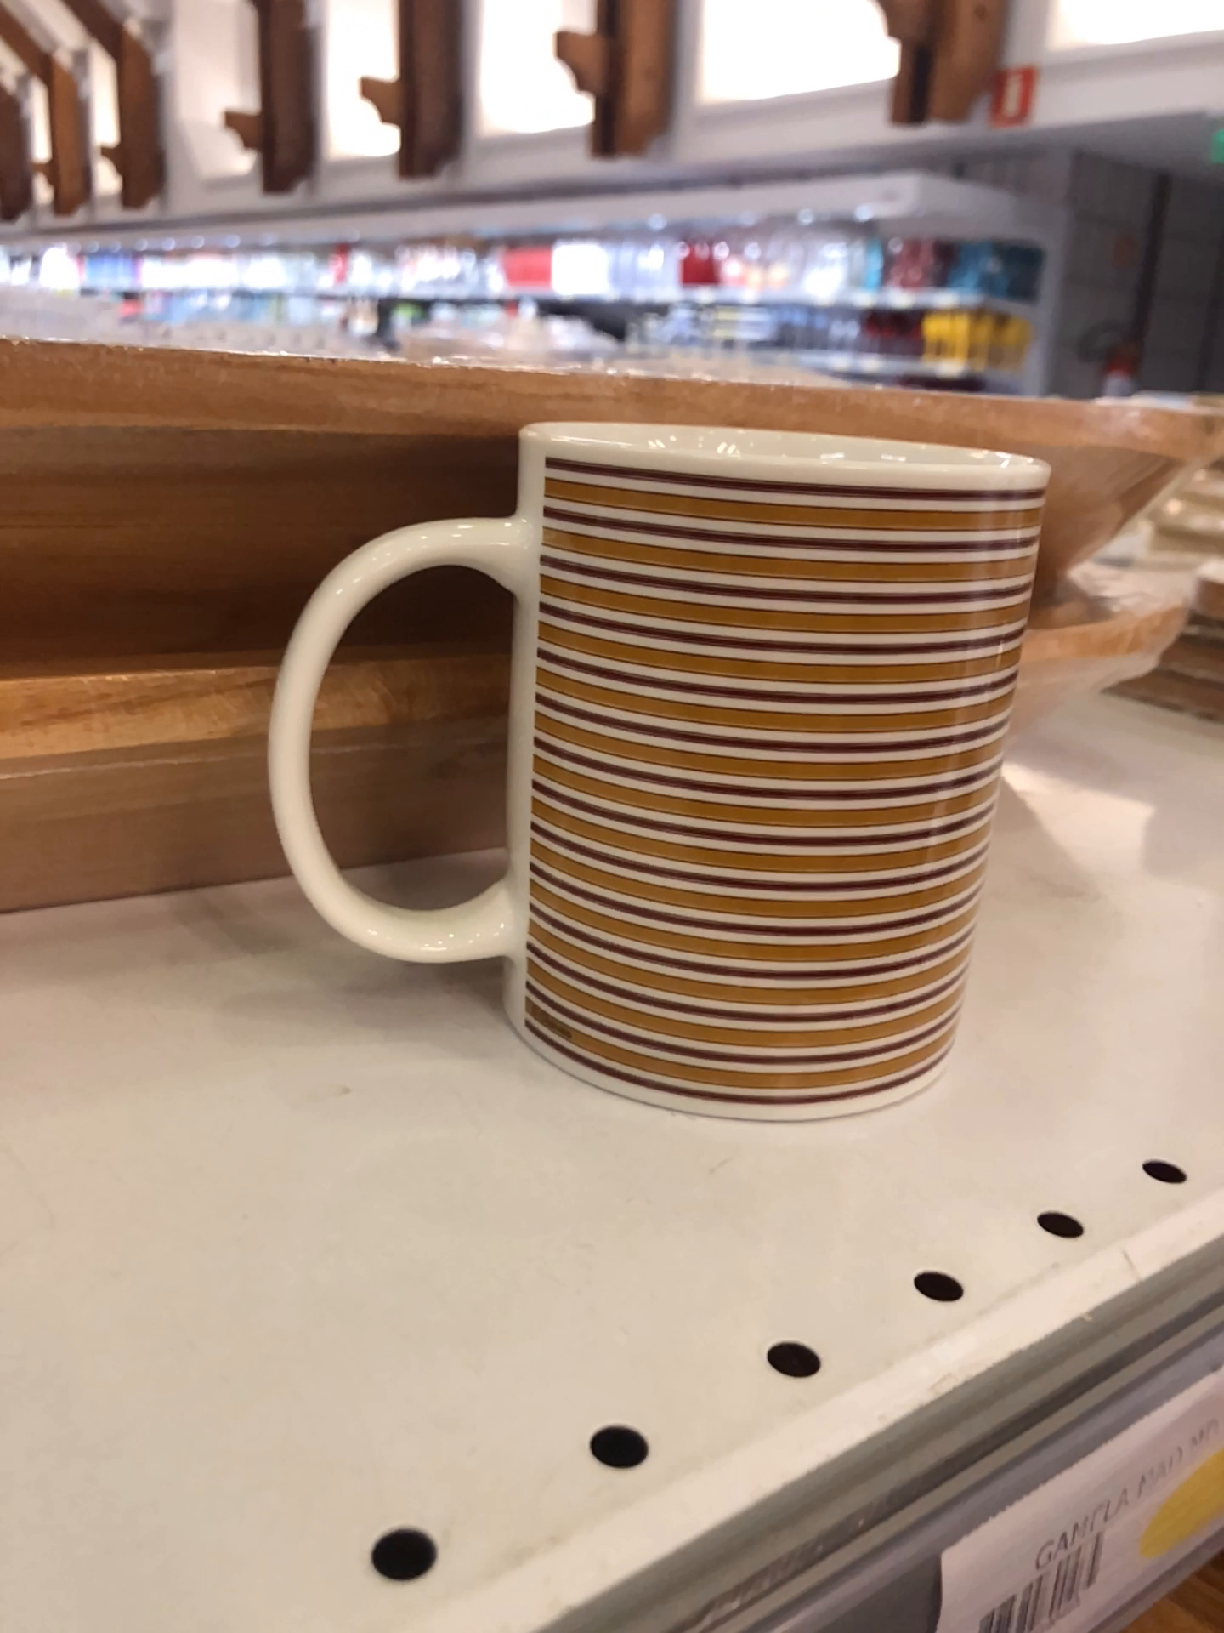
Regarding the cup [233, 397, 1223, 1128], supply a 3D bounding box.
[{"bbox_3d":[0.011,-0.016,0.221,0.120,0.090,0.091,3,18,-3],"label":"cup"}]
